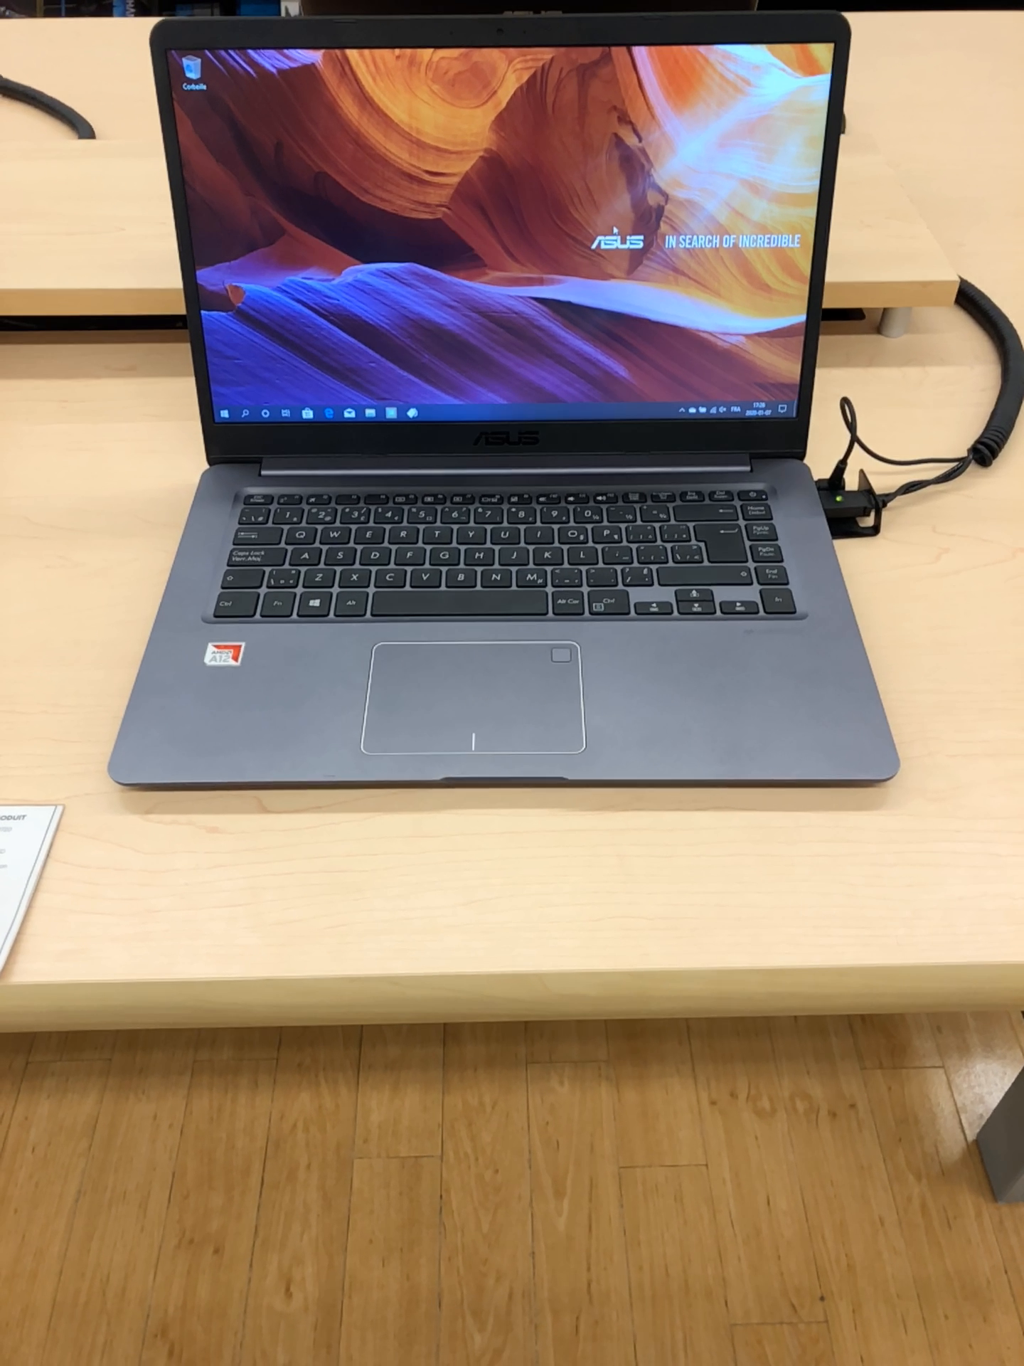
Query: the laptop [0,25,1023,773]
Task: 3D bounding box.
[{"bbox_3d":[-0.006,-0.150,0.557,0.361,0.223,0.319,0,46,0],"label":"laptop"}]
